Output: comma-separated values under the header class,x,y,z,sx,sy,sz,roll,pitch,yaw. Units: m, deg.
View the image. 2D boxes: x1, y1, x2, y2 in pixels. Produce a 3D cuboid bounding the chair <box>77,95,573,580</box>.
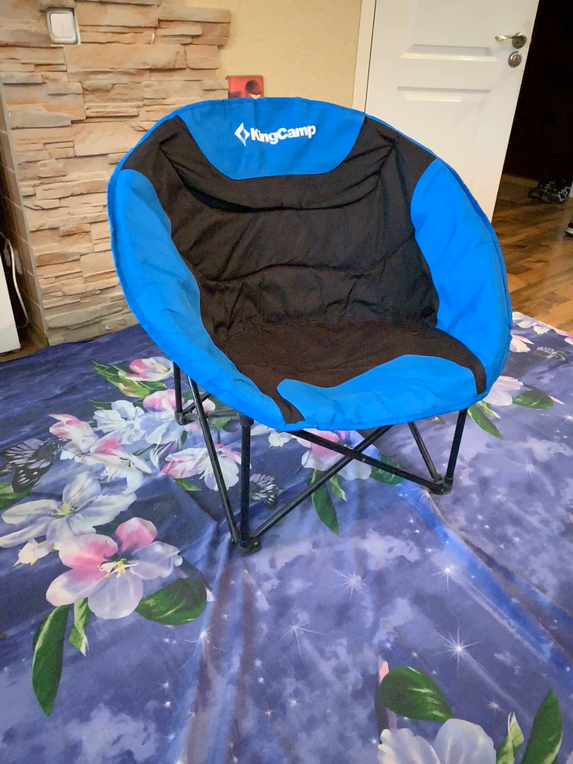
class,x,y,z,sx,sy,sz,roll,pitch,yaw
chair,0.021,-0.172,1.285,0.761,0.772,0.613,-10,32,-20
